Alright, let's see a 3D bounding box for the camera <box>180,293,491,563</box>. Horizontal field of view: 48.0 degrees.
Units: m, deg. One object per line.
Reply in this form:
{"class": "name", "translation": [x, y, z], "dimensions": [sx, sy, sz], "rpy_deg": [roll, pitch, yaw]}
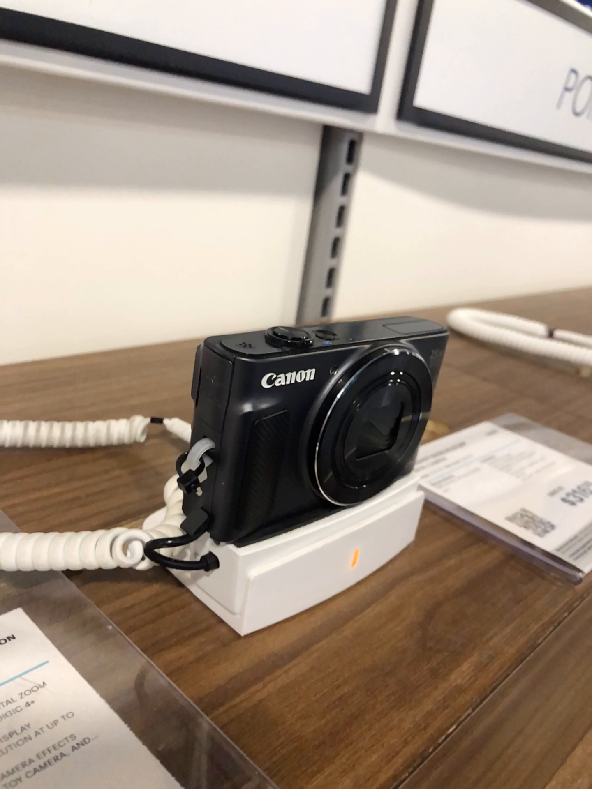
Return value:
{"class": "camera", "translation": [0.016, 0.003, 0.208], "dimensions": [0.030, 0.060, 0.100], "rpy_deg": [25, 25, 39]}
